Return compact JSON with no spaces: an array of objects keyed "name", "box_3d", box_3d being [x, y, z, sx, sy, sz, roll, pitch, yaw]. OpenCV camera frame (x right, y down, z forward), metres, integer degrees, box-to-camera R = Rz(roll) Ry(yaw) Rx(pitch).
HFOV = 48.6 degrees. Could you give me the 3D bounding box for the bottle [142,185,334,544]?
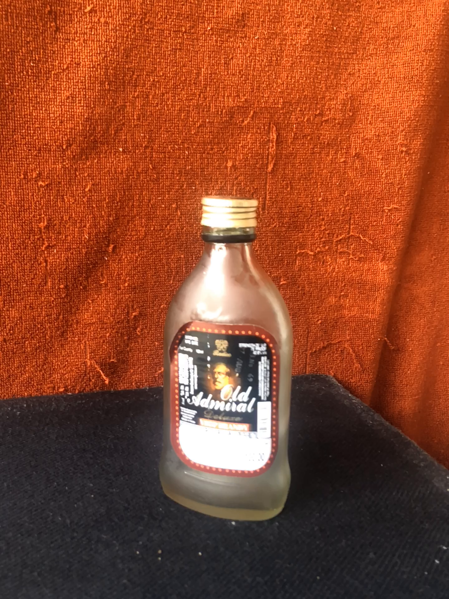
[{"name":"bottle","box_3d":[0.006,0.026,0.234,0.070,0.149,0.050,7,15,12]}]
